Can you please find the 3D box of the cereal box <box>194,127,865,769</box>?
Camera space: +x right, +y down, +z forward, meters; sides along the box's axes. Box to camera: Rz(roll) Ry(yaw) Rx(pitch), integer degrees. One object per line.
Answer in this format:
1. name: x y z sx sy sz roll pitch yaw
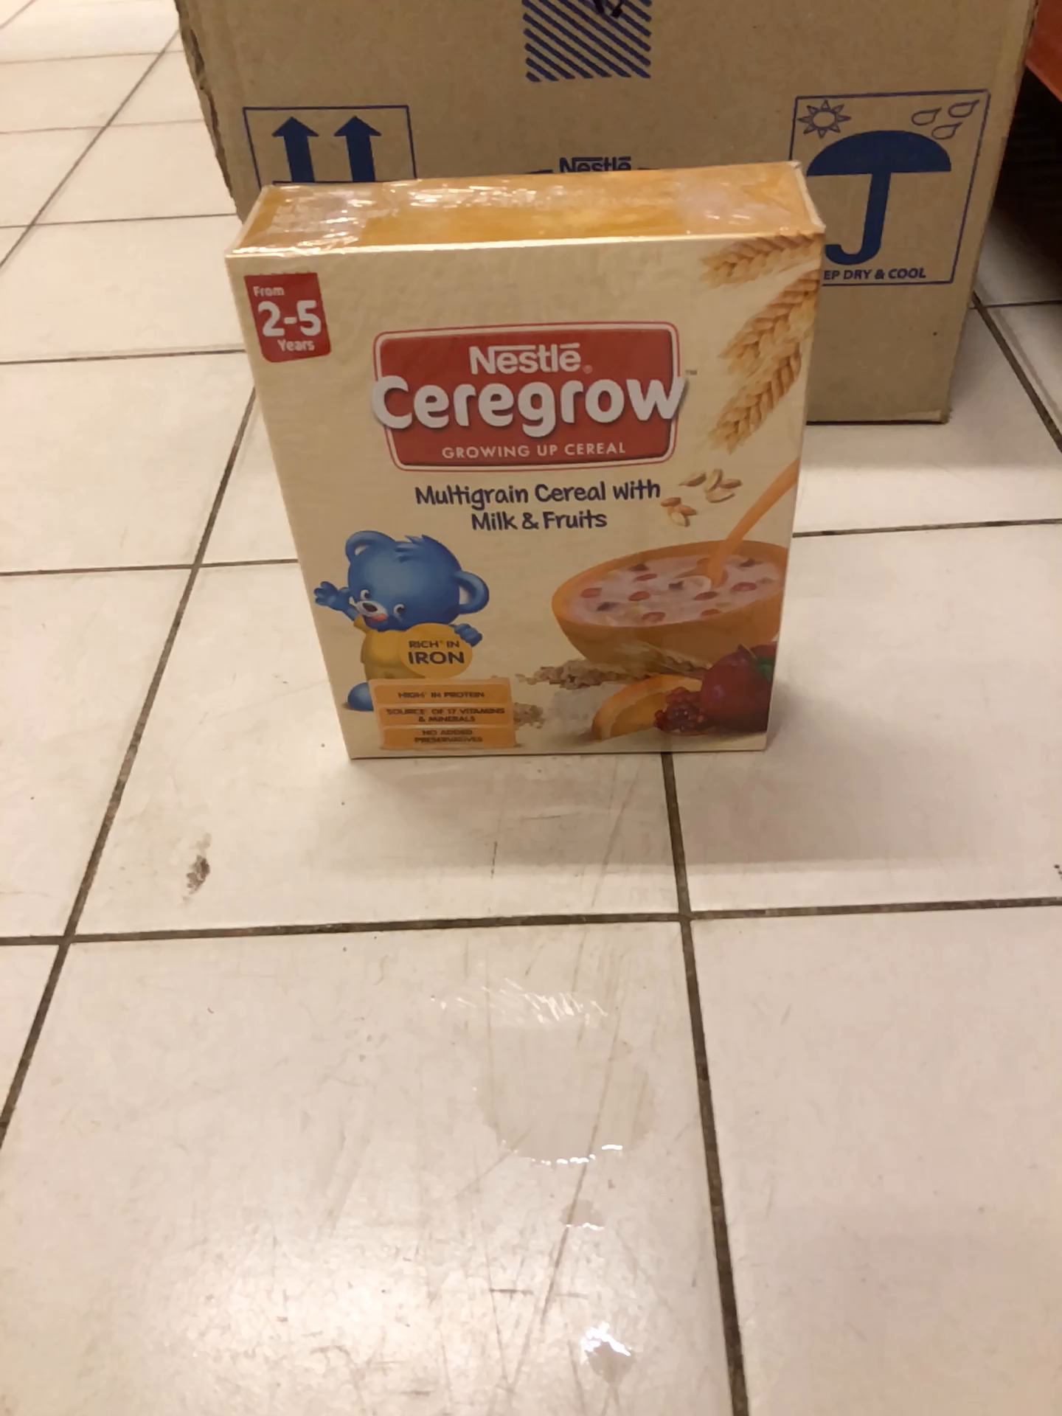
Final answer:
1. cereal box: 0.005 -0.066 0.362 0.160 0.189 0.050 -2 44 3
